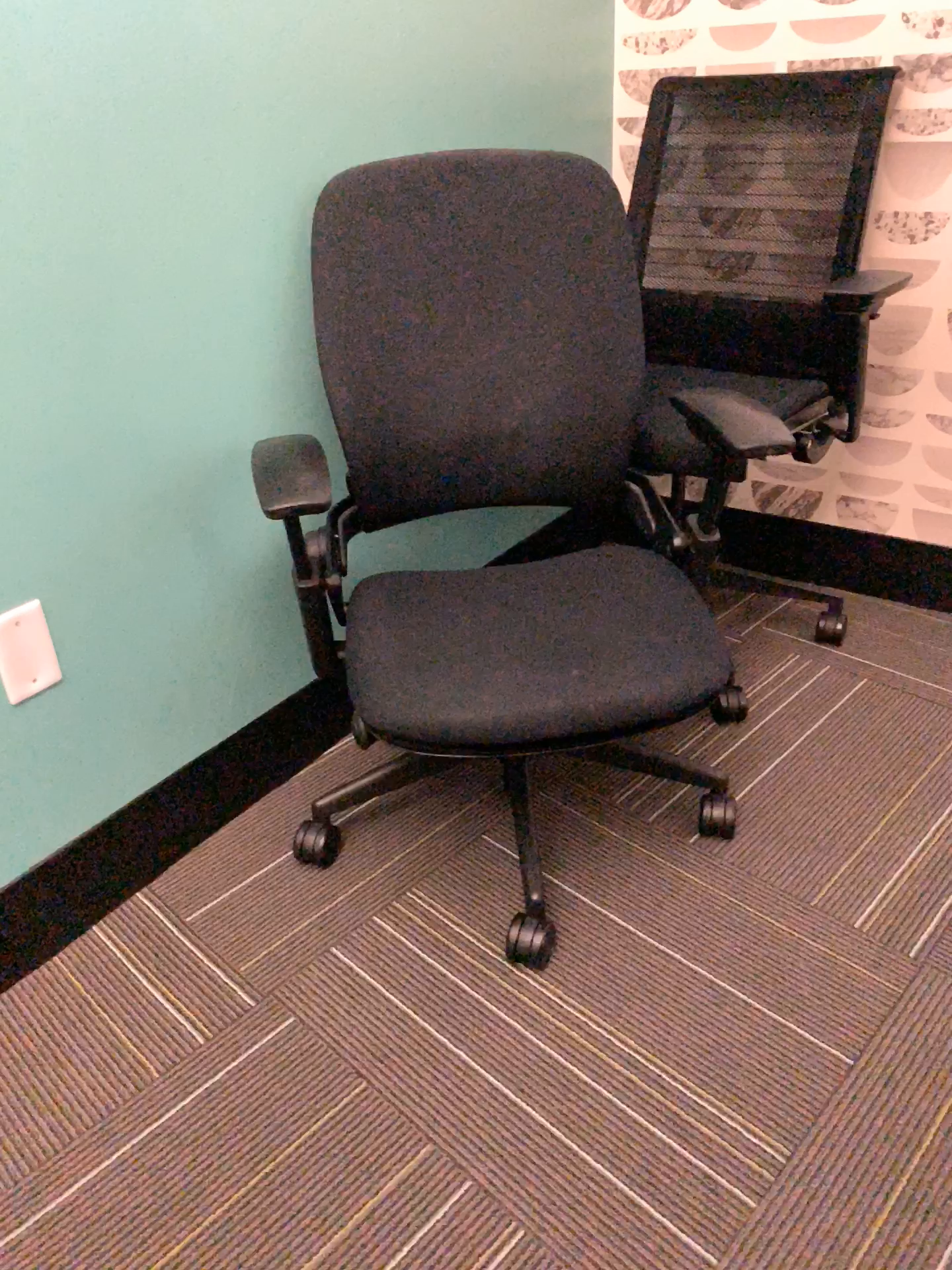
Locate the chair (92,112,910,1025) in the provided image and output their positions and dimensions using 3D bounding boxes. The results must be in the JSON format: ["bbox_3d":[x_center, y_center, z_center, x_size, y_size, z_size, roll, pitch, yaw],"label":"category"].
[{"bbox_3d":[0.002,-0.157,1.336,0.660,0.944,0.775,-7,29,-6],"label":"chair"}]
